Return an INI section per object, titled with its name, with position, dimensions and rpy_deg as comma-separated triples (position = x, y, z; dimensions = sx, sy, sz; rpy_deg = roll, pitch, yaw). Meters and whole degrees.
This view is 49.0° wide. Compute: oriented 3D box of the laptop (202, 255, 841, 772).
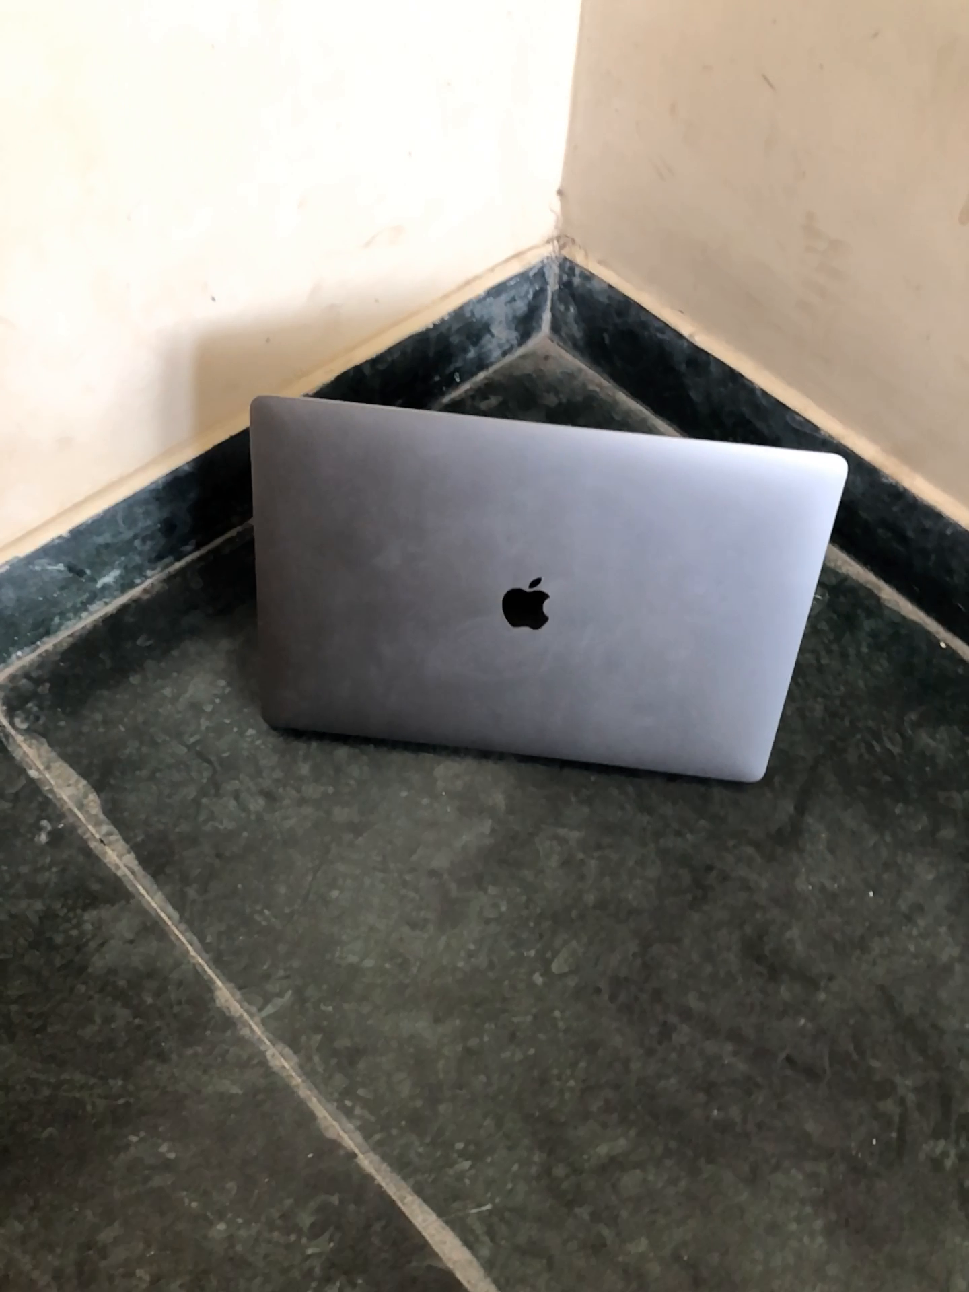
[laptop]
position = 0.025, -0.083, 0.686
dimensions = 0.329, 0.198, 0.222
rpy_deg = 7, 57, 4
